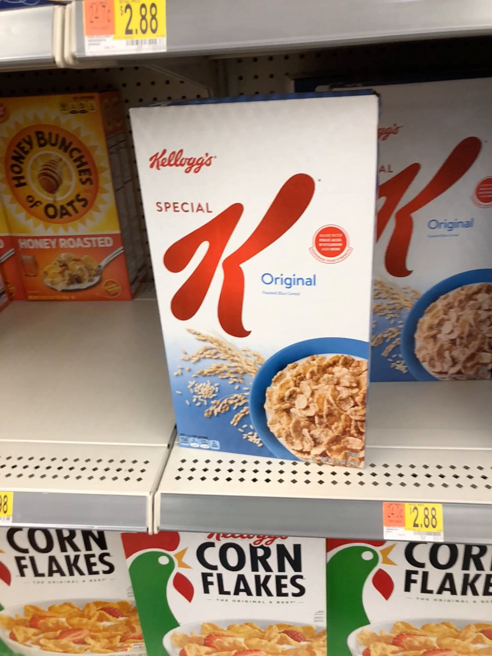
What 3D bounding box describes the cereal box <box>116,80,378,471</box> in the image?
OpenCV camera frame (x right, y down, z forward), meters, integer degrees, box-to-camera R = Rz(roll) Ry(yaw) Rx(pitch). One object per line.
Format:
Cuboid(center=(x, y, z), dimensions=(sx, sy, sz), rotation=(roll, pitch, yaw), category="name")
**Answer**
Cuboid(center=(0.013, -0.037, 0.494), dimensions=(0.190, 0.329, 0.080), rotation=(3, 27, 15), category="cereal box")
